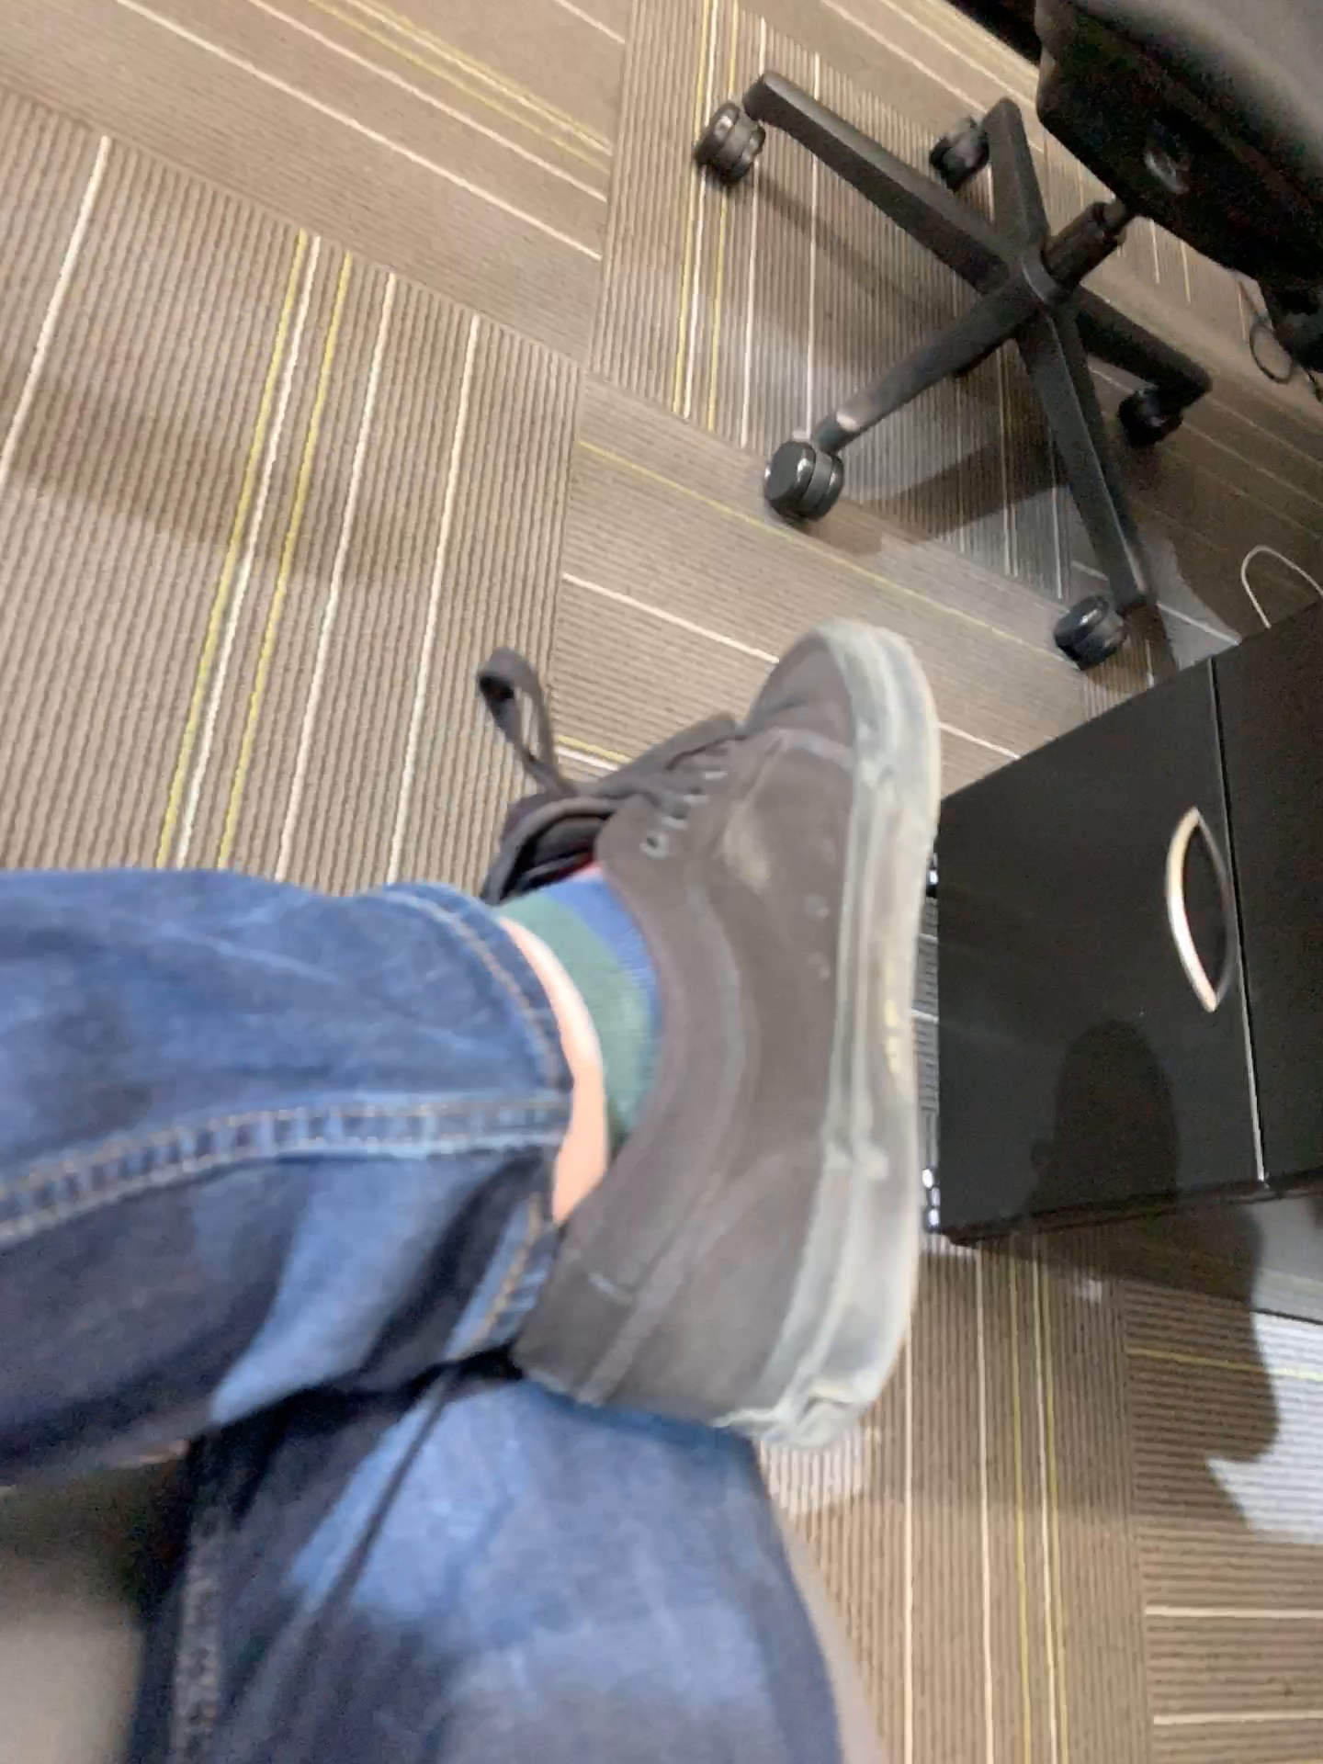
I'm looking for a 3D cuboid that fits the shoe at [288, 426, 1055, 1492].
[{"bbox_3d":[0.012,0.024,0.398,0.135,0.120,0.261,24,60,-14],"label":"shoe"}]
